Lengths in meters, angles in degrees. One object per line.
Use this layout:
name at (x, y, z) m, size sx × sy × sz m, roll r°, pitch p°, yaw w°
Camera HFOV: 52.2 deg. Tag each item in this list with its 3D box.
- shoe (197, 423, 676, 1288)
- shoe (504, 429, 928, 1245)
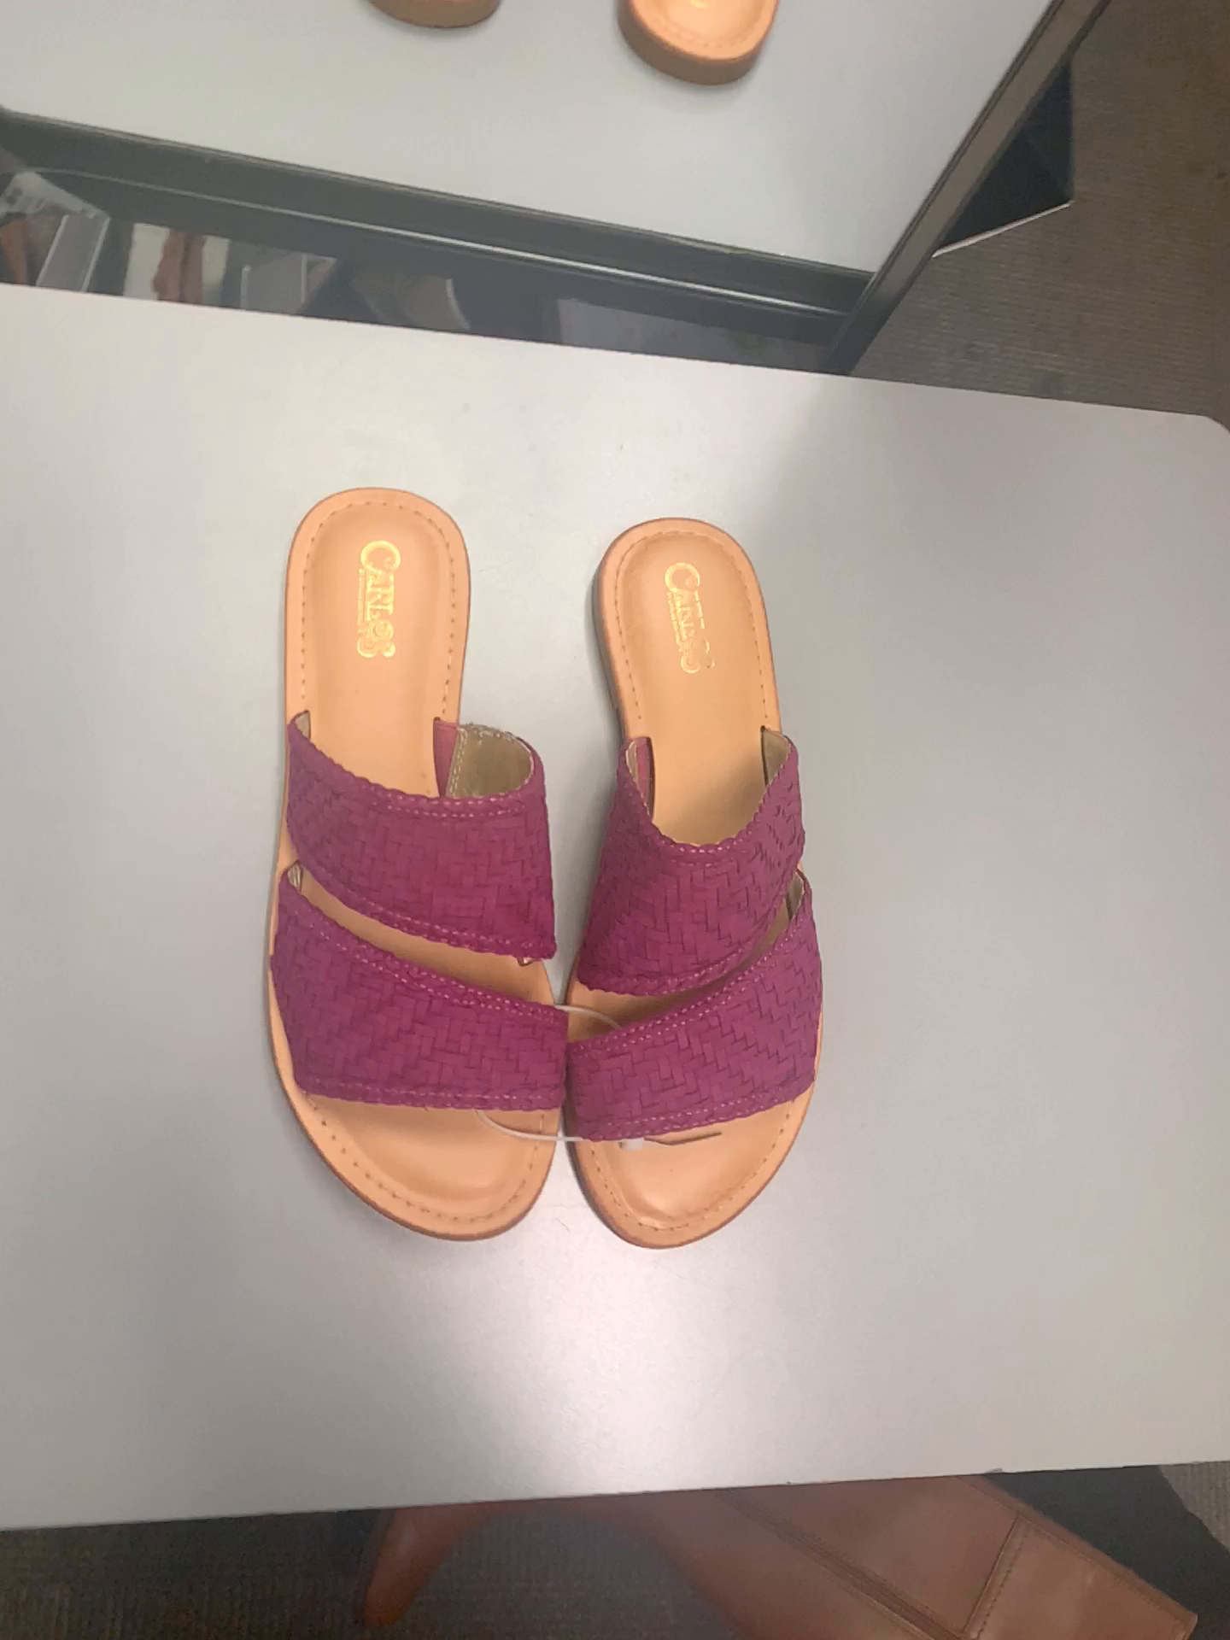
shoe at (-0.060, 0.005, 0.383) m, size 0.108 × 0.071 × 0.238 m, roll -5°, pitch 76°, yaw -14°
shoe at (0.026, 0.007, 0.401) m, size 0.108 × 0.071 × 0.238 m, roll 3°, pitch 75°, yaw -12°
